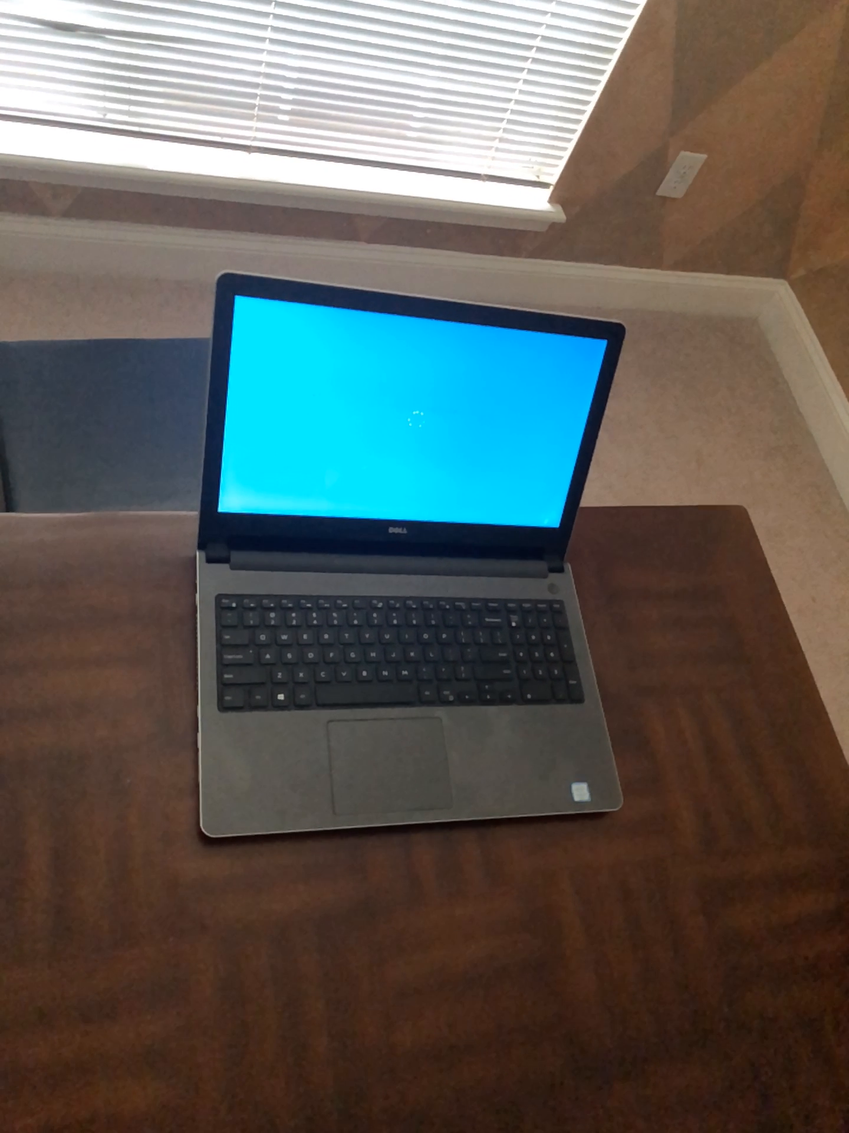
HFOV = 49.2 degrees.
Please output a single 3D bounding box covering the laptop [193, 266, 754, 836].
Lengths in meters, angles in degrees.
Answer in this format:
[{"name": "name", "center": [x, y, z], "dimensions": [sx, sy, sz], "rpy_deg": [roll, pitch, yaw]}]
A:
[{"name": "laptop", "center": [0.008, -0.008, 0.779], "dimensions": [0.367, 0.199, 0.393], "rpy_deg": [2, 61, -19]}]
